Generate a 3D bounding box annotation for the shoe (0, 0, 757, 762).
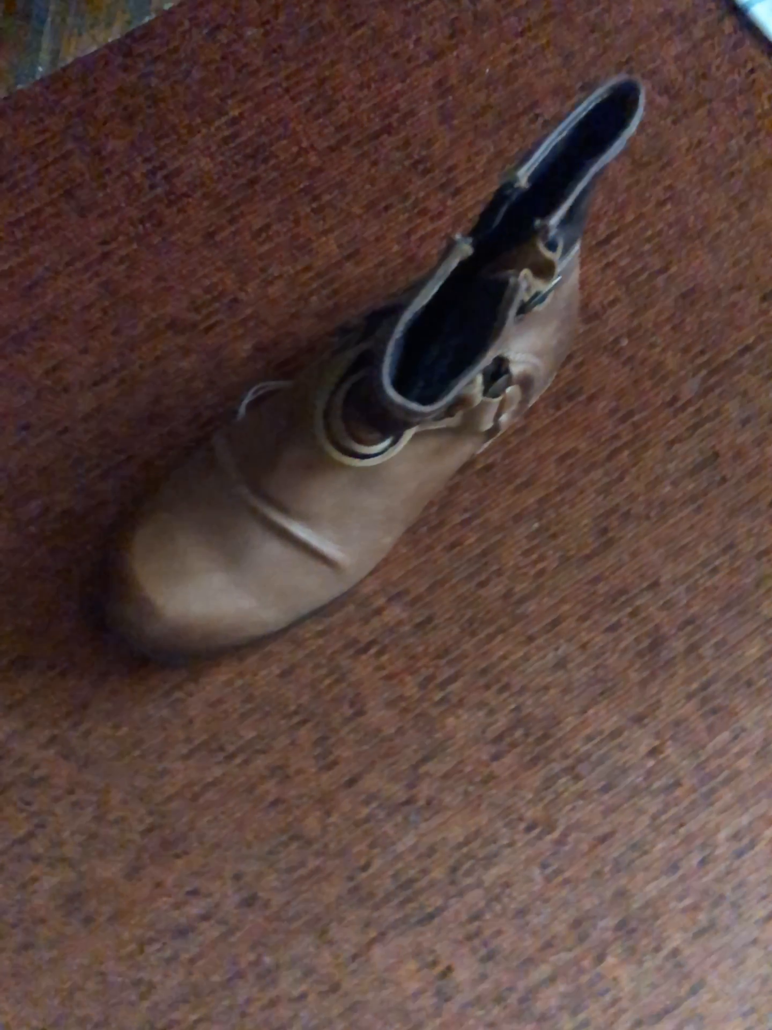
[{"bbox_3d":[-0.020,-0.043,0.368,0.280,0.190,0.110,-40,84,-8],"label":"shoe"}]
